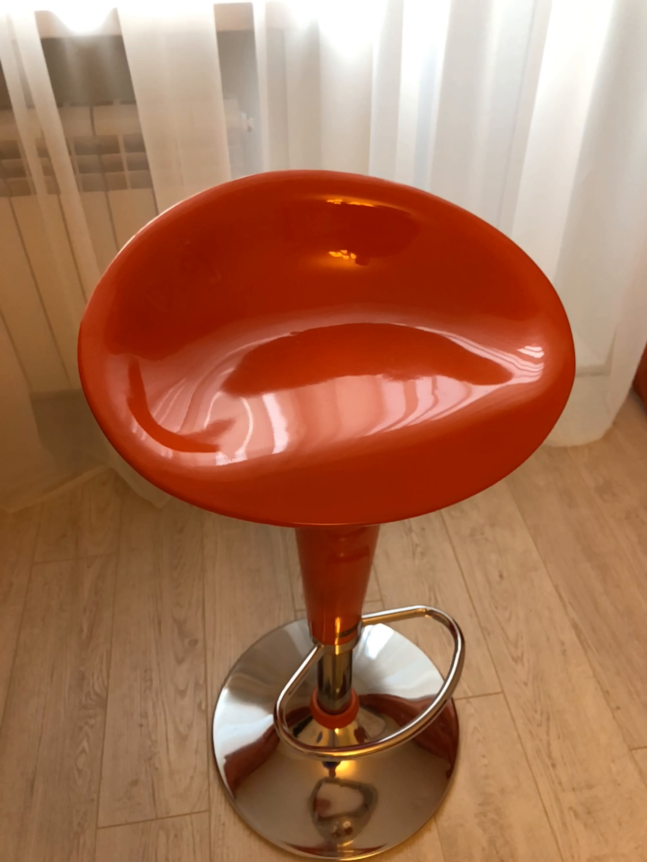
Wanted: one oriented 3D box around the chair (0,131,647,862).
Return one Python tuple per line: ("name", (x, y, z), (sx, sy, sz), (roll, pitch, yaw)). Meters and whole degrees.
("chair", (0.012, 0.144, 0.791), (0.412, 0.725, 0.421), (-31, 51, -30))
